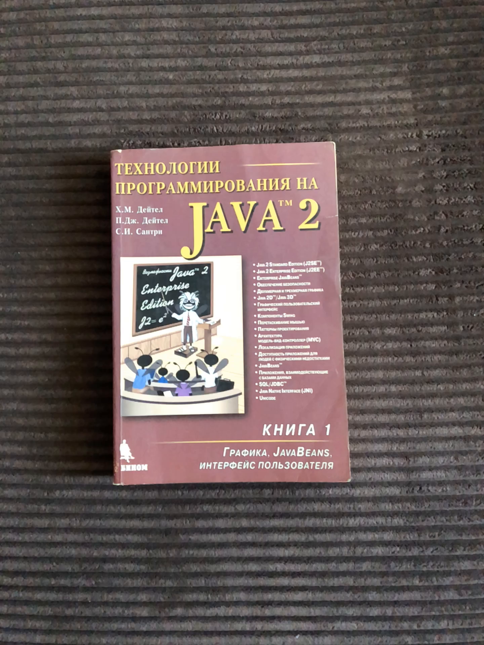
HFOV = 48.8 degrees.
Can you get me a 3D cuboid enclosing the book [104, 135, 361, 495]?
[{"bbox_3d":[-0.009,-0.007,0.387,0.165,0.050,0.240,-2,83,1],"label":"book"}]
